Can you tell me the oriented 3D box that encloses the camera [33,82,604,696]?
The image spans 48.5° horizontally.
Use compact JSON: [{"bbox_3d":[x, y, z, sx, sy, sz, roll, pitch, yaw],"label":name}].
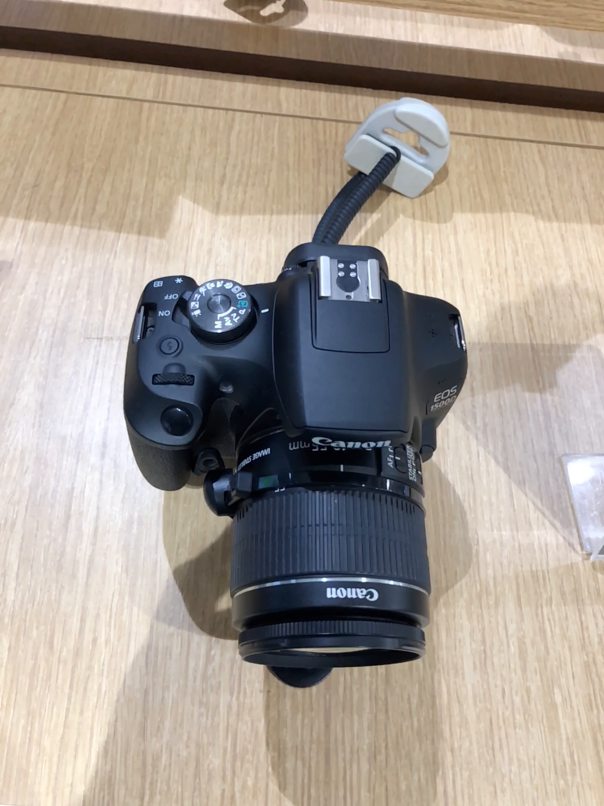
[{"bbox_3d":[0.002,-0.006,0.243,0.140,0.100,0.191,0,61,-6],"label":"camera"}]
